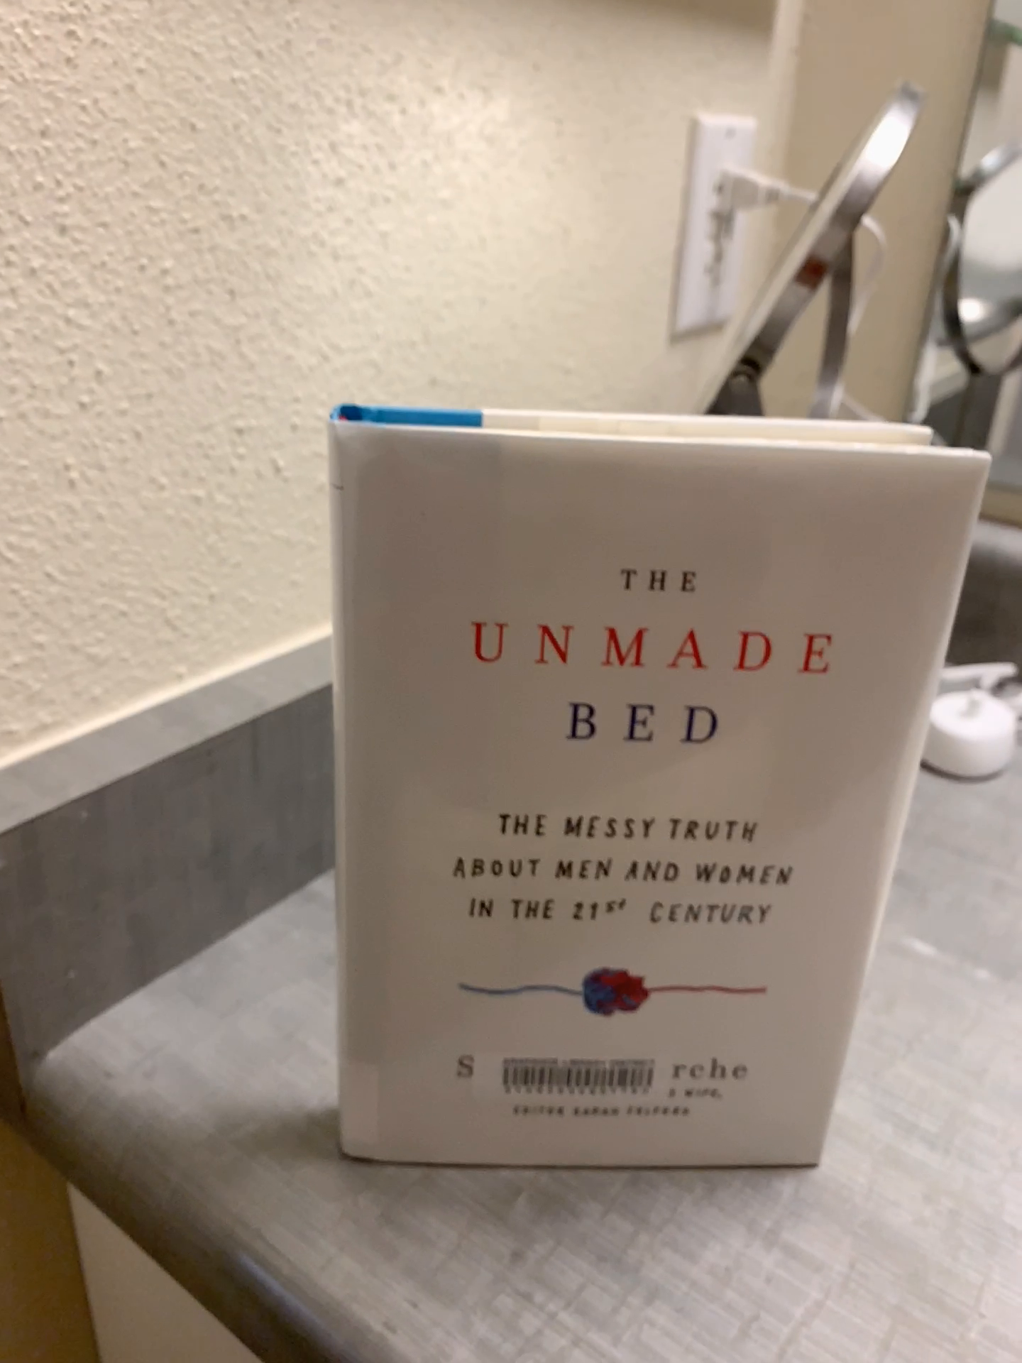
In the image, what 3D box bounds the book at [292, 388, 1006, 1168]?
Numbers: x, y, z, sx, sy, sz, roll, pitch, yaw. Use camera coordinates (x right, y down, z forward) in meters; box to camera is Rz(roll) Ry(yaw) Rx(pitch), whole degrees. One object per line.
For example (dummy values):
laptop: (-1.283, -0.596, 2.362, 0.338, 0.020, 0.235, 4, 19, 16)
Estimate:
book: (0.025, 0.037, 0.285, 0.152, 0.214, 0.033, 2, 24, -3)
